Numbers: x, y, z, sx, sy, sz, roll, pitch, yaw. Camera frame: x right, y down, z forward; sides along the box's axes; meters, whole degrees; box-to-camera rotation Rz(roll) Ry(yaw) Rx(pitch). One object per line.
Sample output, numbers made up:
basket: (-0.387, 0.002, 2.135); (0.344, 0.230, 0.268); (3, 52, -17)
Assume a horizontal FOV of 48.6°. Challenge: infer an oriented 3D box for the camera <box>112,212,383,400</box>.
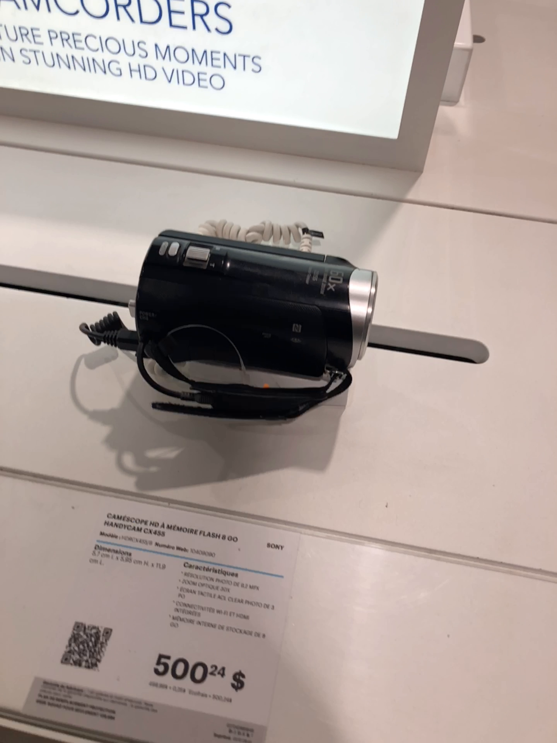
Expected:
camera: (-0.013, -0.034, 0.319); (0.121, 0.058, 0.057); (8, 53, 5)
